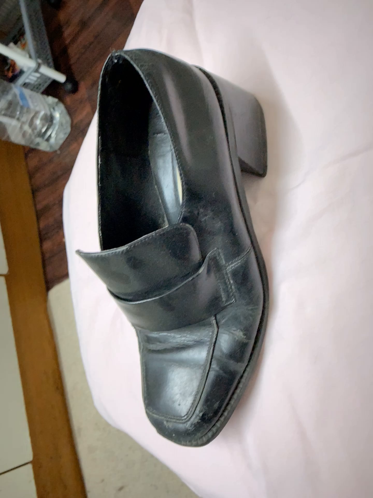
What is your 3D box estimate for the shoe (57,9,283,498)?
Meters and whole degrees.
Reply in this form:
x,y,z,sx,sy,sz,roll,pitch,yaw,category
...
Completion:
x,y,z,sx,sy,sz,roll,pitch,yaw,category
-0.007,0.004,0.248,0.091,0.092,0.240,3,88,38,shoe
